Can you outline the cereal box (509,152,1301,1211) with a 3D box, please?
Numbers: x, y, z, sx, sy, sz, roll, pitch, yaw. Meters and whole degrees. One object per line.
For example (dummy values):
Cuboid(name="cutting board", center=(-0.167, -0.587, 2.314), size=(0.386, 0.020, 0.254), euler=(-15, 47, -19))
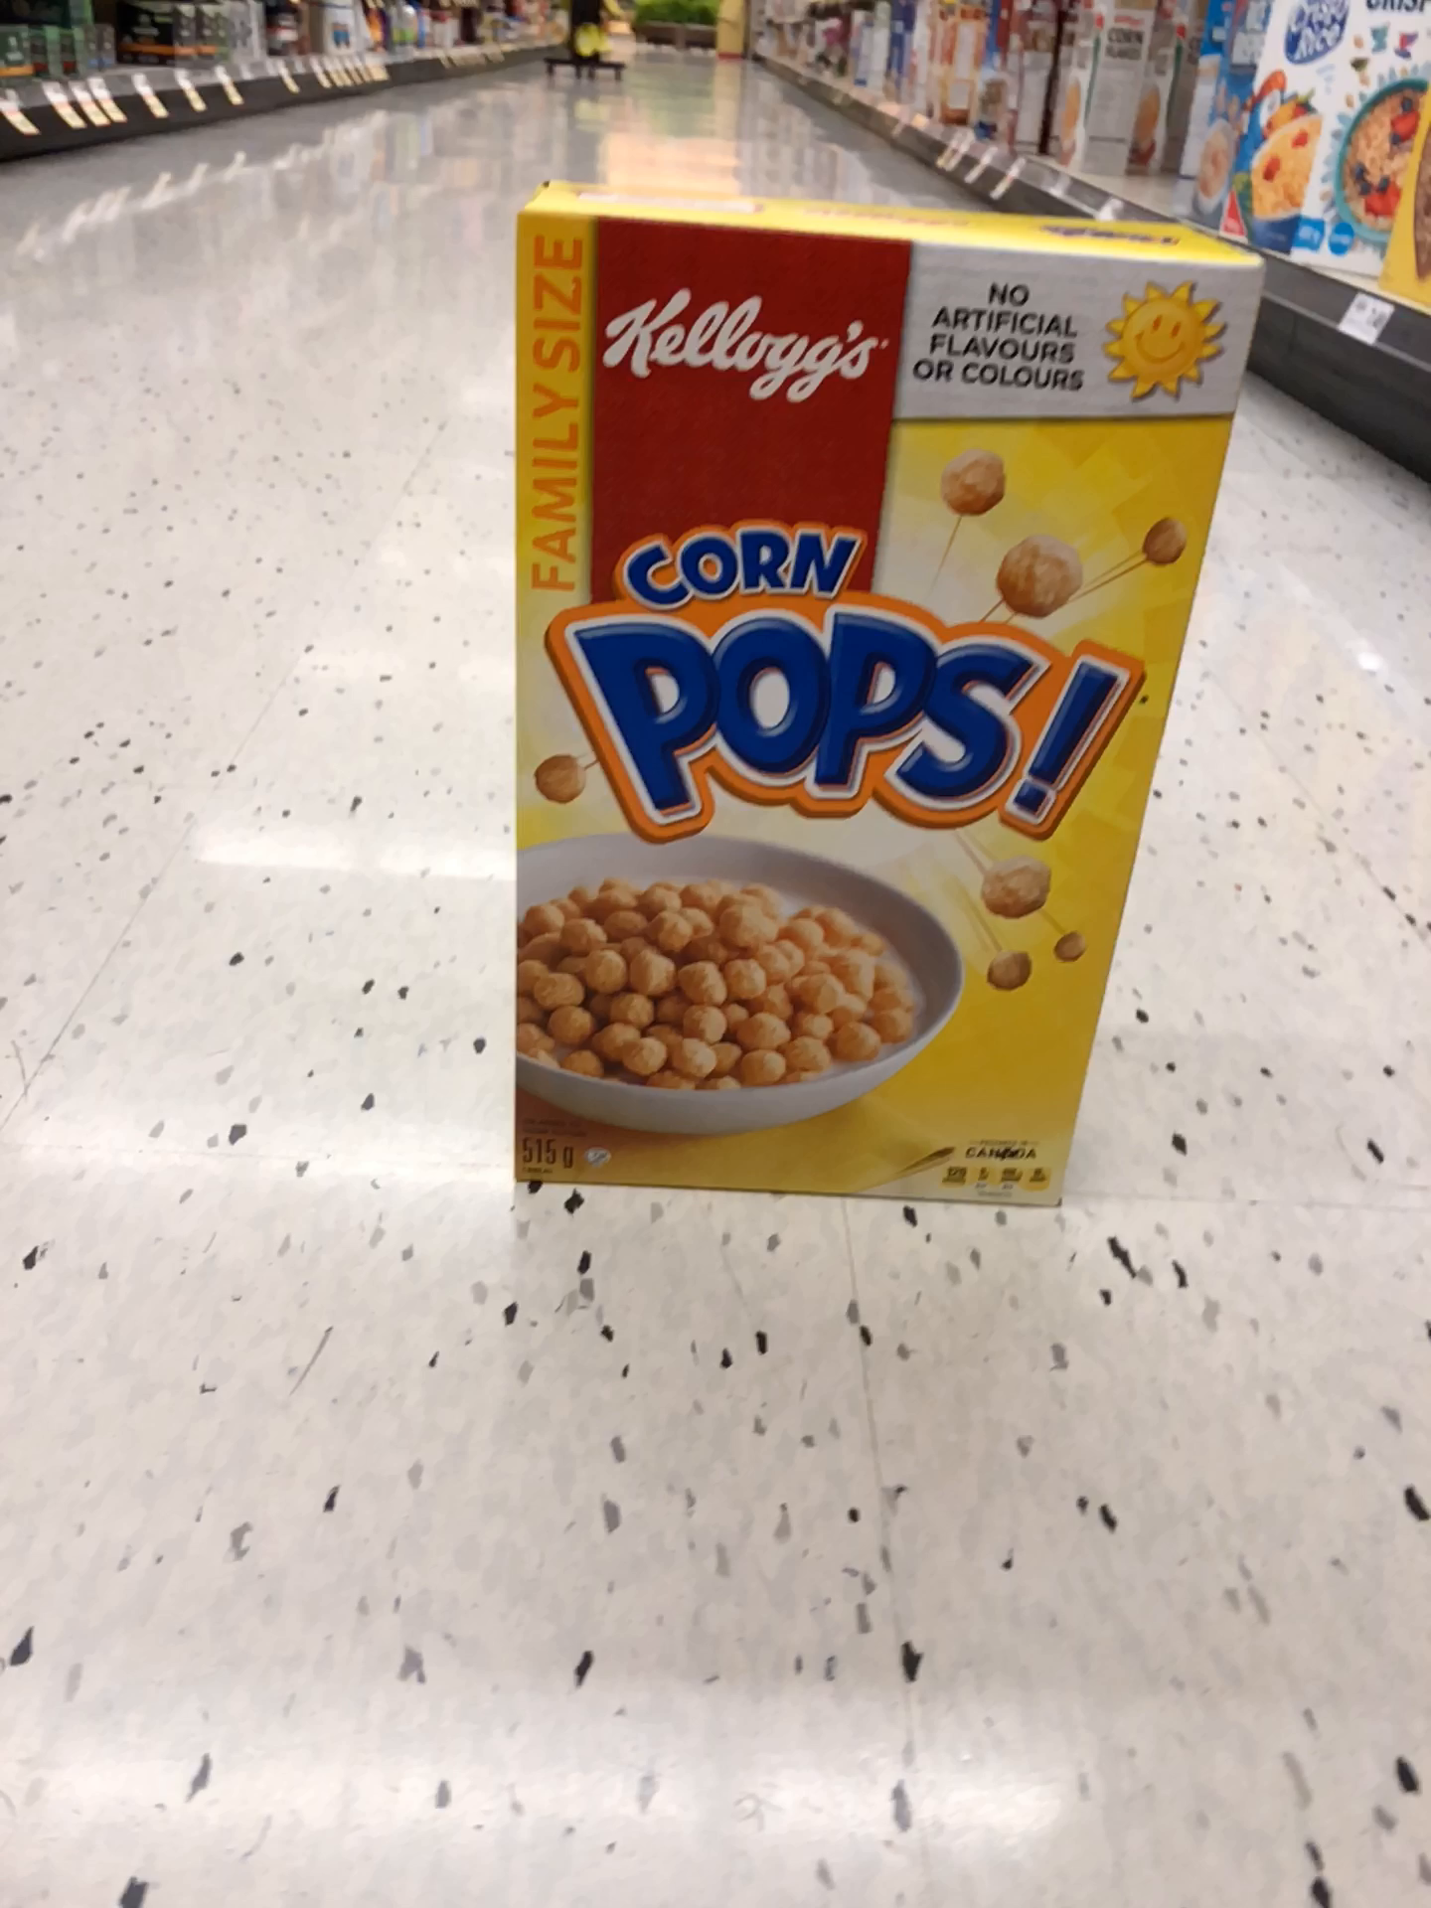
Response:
Cuboid(name="cereal box", center=(0.038, -0.077, 0.522), size=(0.200, 0.318, 0.101), euler=(3, 30, -3))
